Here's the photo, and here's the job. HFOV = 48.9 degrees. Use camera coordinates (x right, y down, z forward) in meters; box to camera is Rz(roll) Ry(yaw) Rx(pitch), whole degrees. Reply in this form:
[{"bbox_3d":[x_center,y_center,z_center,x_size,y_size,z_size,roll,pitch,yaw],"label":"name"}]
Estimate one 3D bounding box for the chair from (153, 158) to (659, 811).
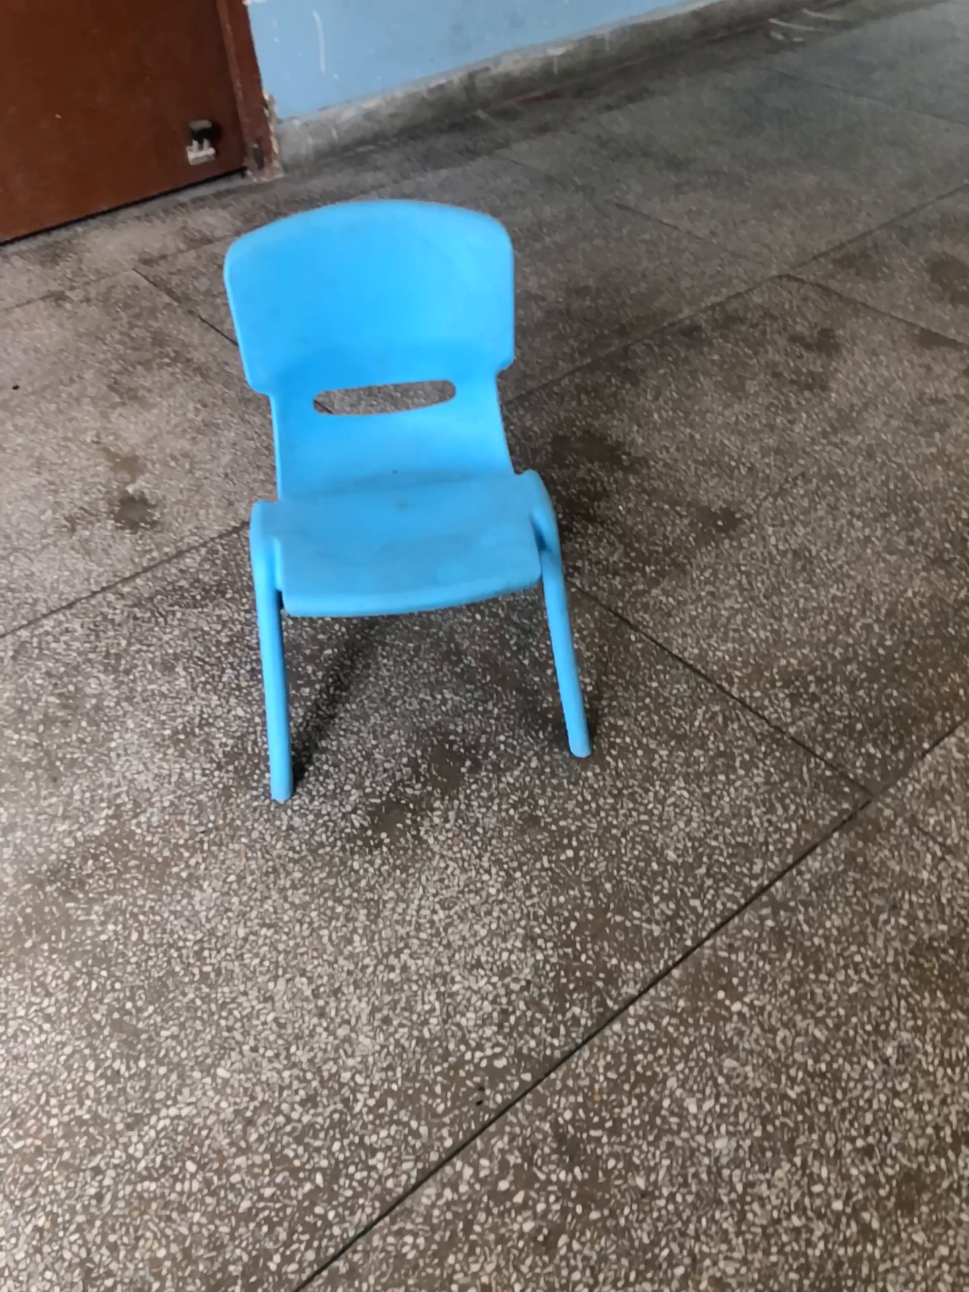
[{"bbox_3d":[-0.076,-0.164,1.107,0.380,0.498,0.391,-7,44,-5],"label":"chair"}]
